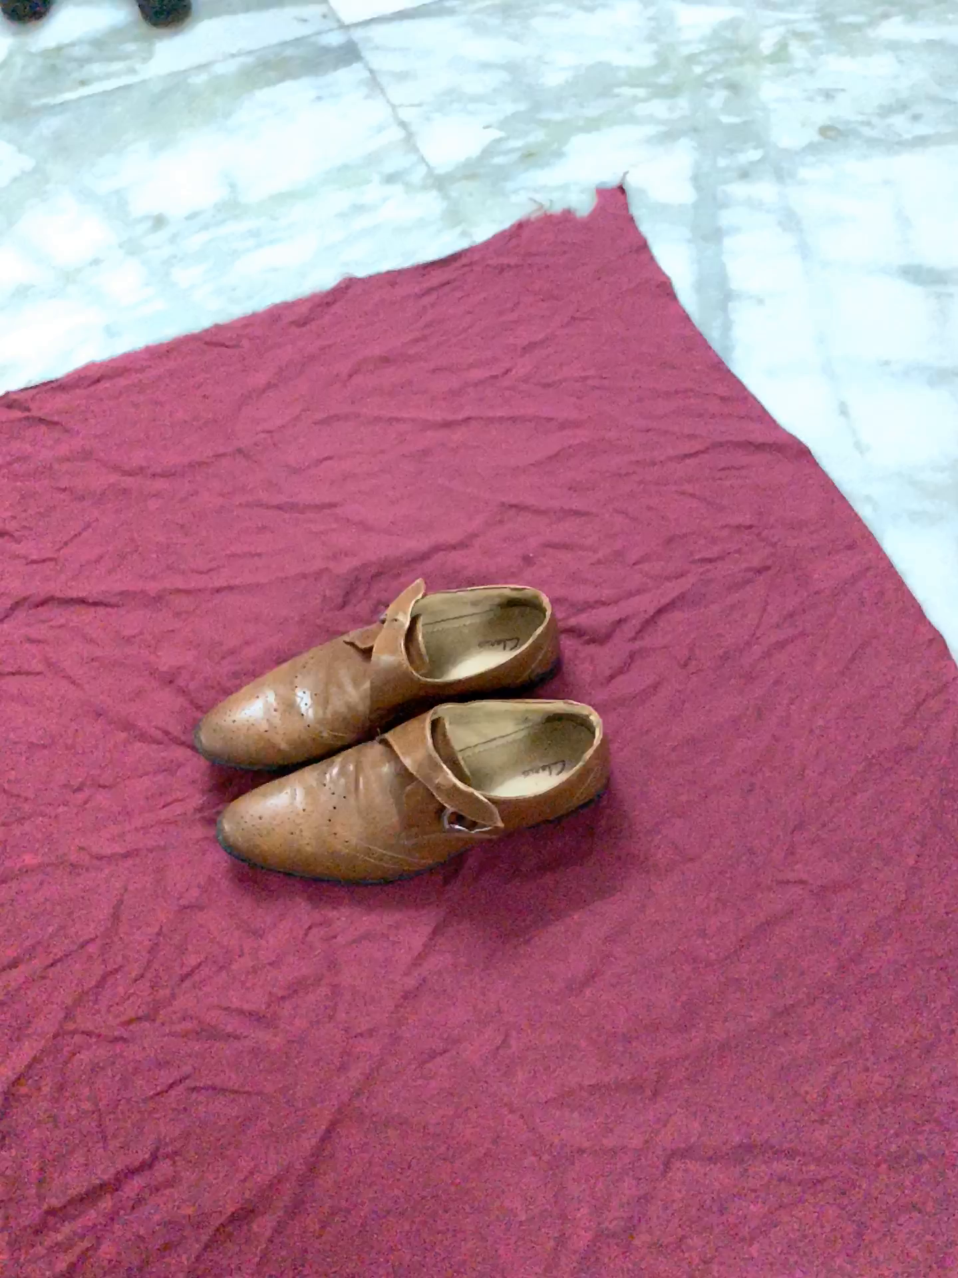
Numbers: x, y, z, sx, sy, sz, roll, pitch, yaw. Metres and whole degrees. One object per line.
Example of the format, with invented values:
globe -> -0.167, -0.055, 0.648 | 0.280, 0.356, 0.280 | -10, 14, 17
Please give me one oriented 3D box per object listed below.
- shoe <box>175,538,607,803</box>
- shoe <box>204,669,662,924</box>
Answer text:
shoe -> -0.065, 0.024, 0.755 | 0.300, 0.090, 0.100 | -15, 63, -7
shoe -> -0.034, 0.118, 0.733 | 0.310, 0.090, 0.100 | -12, 63, -5
